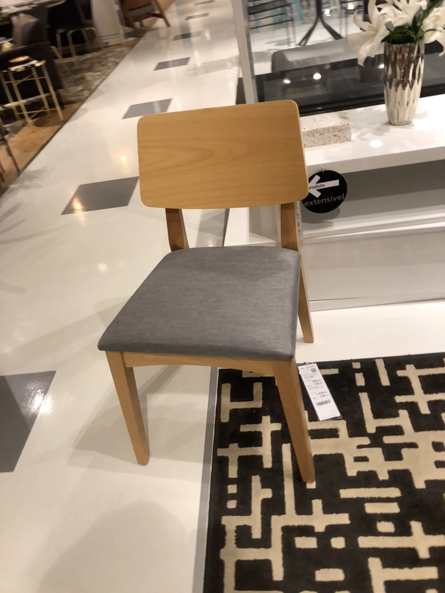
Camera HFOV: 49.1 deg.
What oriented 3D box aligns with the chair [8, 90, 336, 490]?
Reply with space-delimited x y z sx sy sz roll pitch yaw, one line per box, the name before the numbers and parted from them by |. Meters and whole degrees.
chair | -0.006 -0.013 1.281 0.540 0.794 0.584 0 38 16
